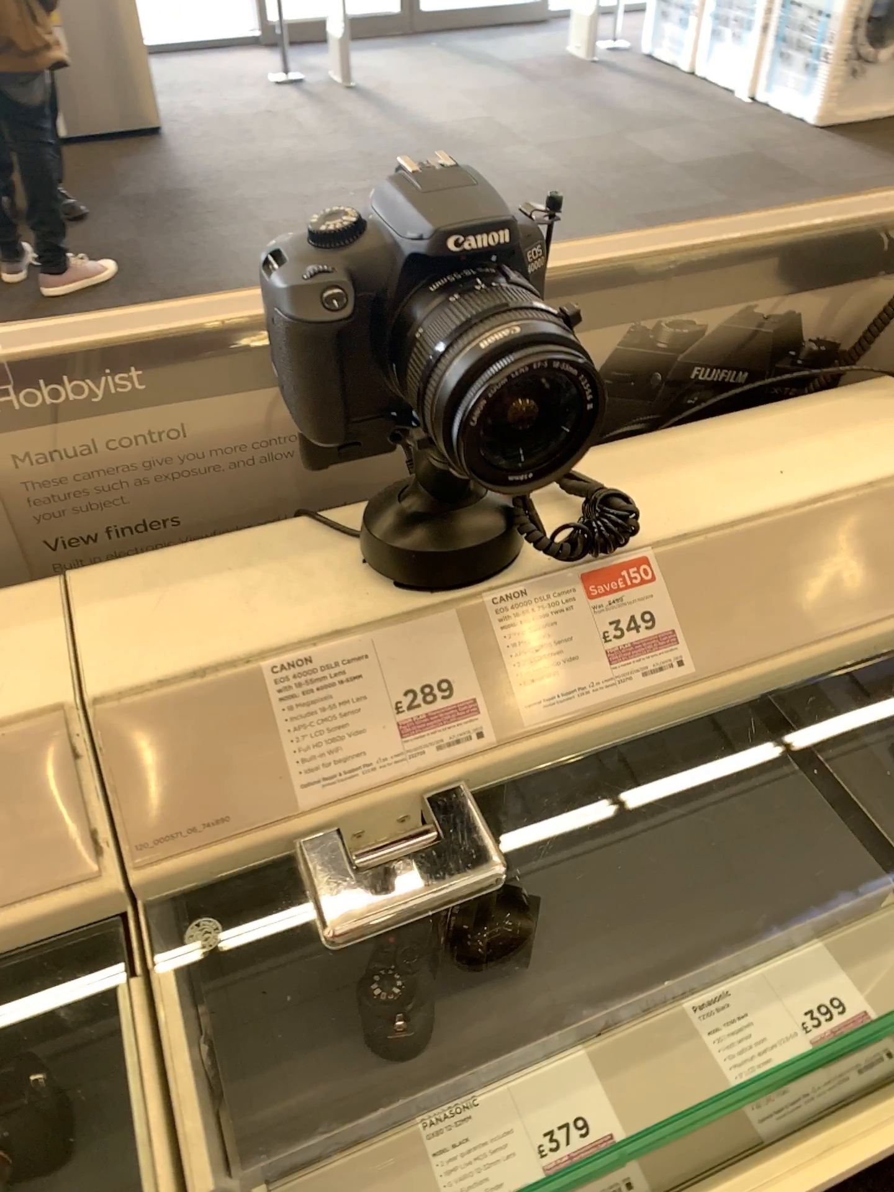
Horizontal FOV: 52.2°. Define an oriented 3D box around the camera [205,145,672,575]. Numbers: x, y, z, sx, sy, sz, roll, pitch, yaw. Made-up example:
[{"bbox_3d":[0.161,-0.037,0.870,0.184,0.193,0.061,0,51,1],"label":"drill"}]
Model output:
[{"bbox_3d":[-0.011,-0.104,0.377,0.140,0.101,0.137,-12,44,-13],"label":"camera"}]
